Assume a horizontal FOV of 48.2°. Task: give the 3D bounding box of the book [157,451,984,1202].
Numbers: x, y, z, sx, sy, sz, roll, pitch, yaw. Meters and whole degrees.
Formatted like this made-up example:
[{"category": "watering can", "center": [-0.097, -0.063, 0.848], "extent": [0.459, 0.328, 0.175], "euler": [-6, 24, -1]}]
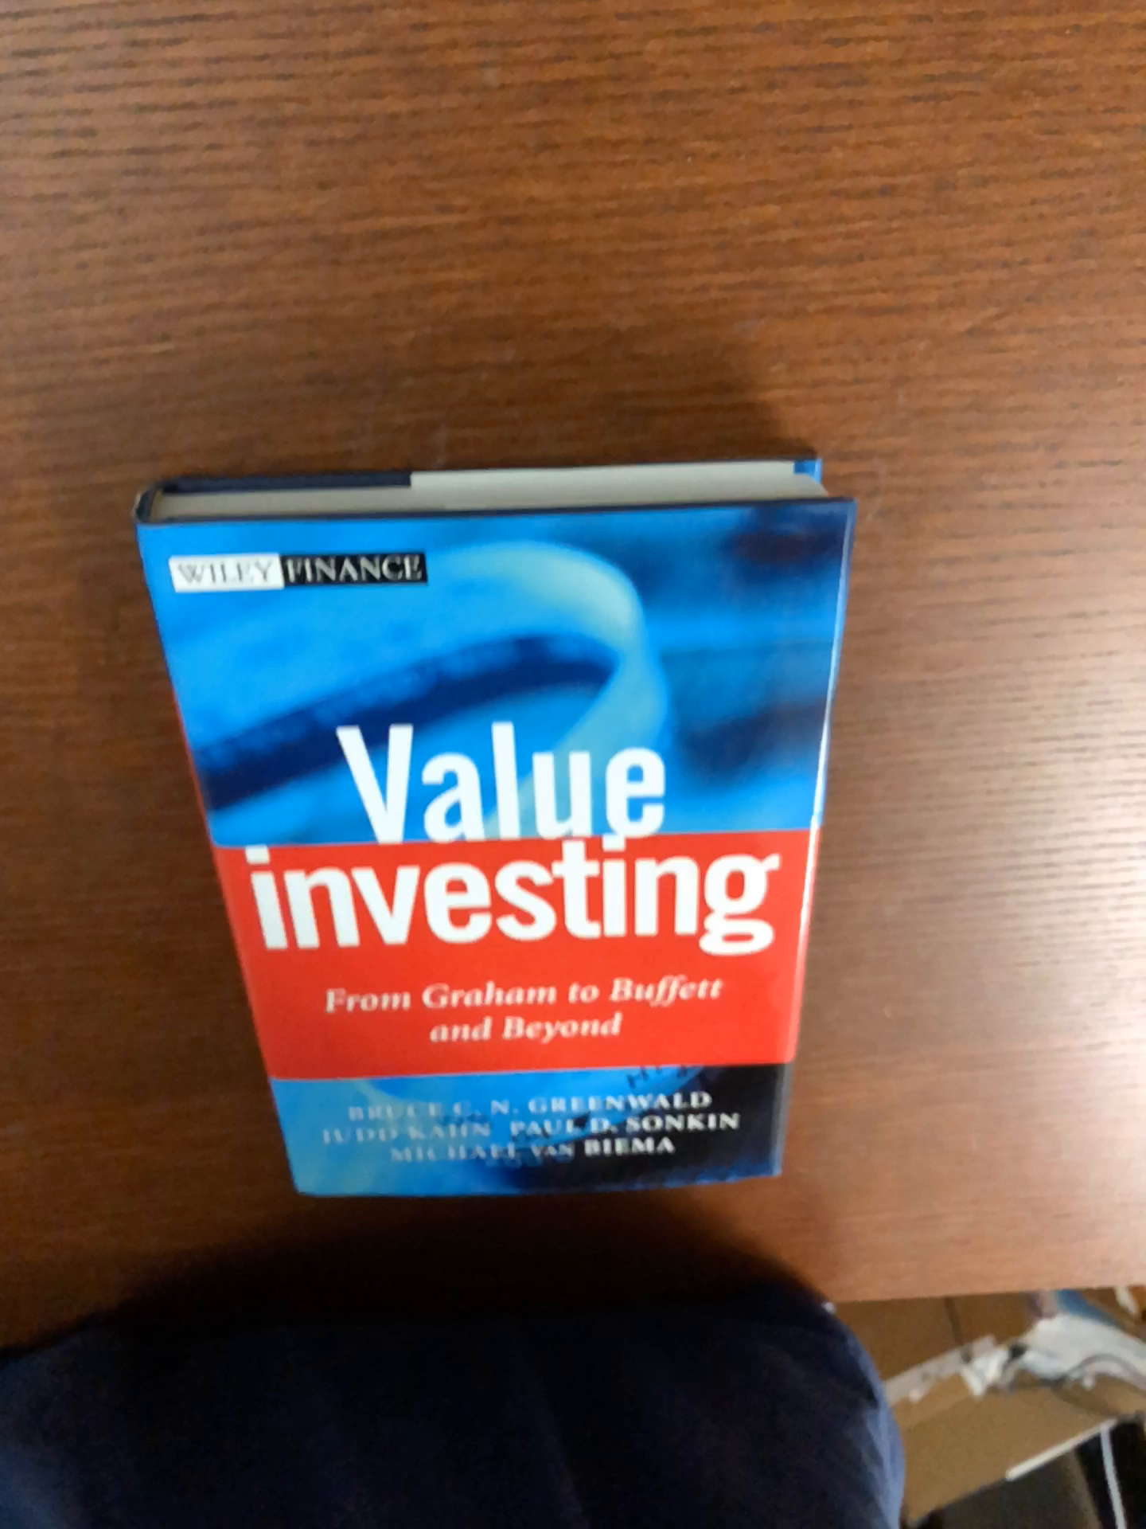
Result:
[{"category": "book", "center": [0.001, 0.033, 0.339], "extent": [0.170, 0.020, 0.231], "euler": [-1, 125, -1]}]
